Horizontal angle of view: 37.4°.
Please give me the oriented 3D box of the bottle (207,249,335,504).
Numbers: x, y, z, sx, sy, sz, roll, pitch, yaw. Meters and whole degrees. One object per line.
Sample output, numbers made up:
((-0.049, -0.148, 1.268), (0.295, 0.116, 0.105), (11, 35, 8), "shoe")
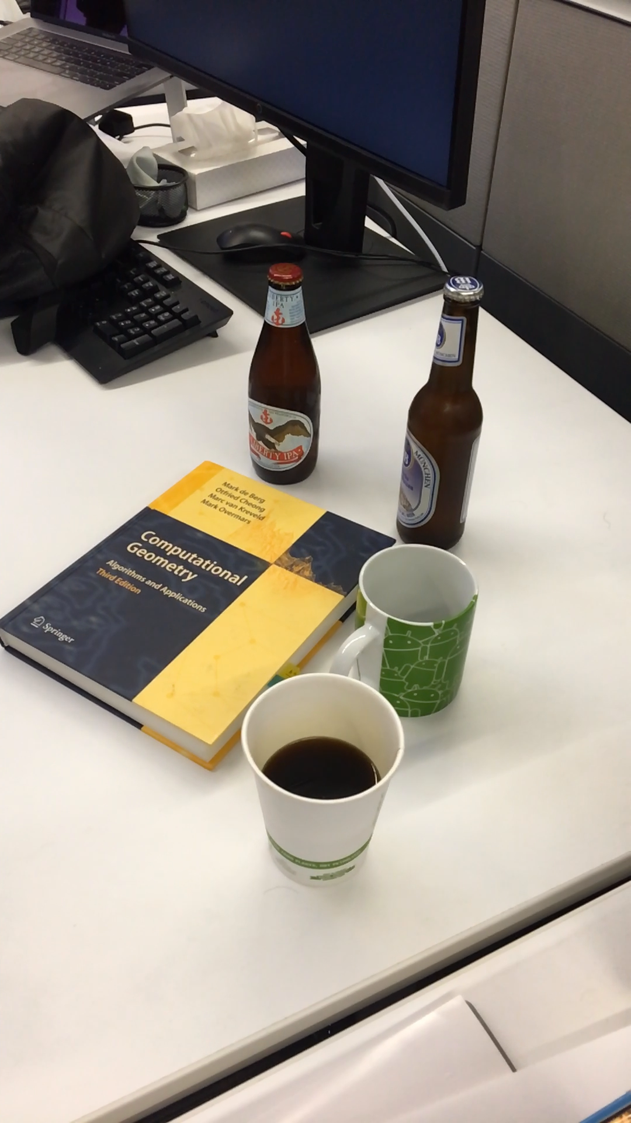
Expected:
((-0.034, -0.147, 0.761), (0.070, 0.180, 0.070), (1, 42, -1), "bottle")

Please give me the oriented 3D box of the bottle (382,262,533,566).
((0.098, -0.102, 0.694), (0.070, 0.220, 0.060), (-7, 43, -10), "bottle")
